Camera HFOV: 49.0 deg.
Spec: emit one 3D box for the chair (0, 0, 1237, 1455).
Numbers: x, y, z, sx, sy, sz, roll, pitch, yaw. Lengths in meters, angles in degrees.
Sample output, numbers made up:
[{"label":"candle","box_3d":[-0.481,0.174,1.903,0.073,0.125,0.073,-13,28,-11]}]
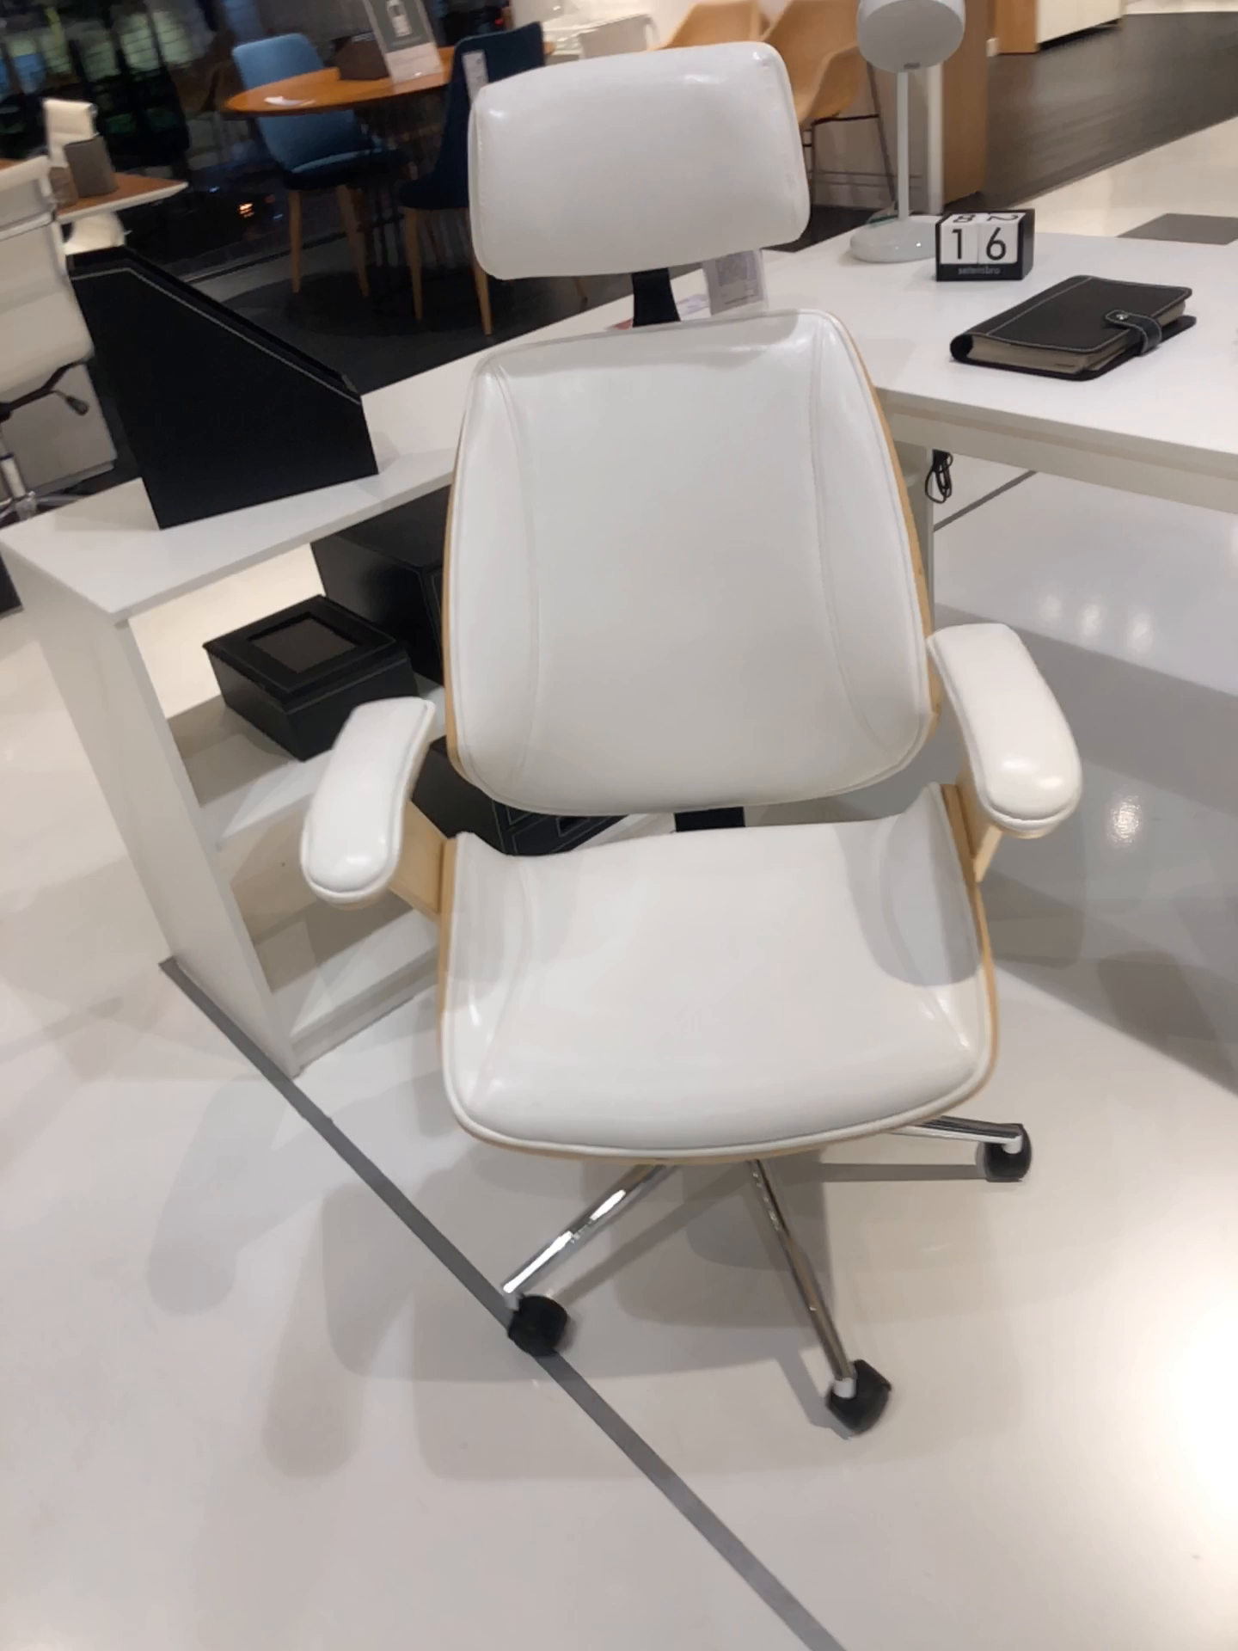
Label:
[{"label":"chair","box_3d":[0.081,-0.066,1.268,0.670,1.101,0.706,-5,35,7]}]
